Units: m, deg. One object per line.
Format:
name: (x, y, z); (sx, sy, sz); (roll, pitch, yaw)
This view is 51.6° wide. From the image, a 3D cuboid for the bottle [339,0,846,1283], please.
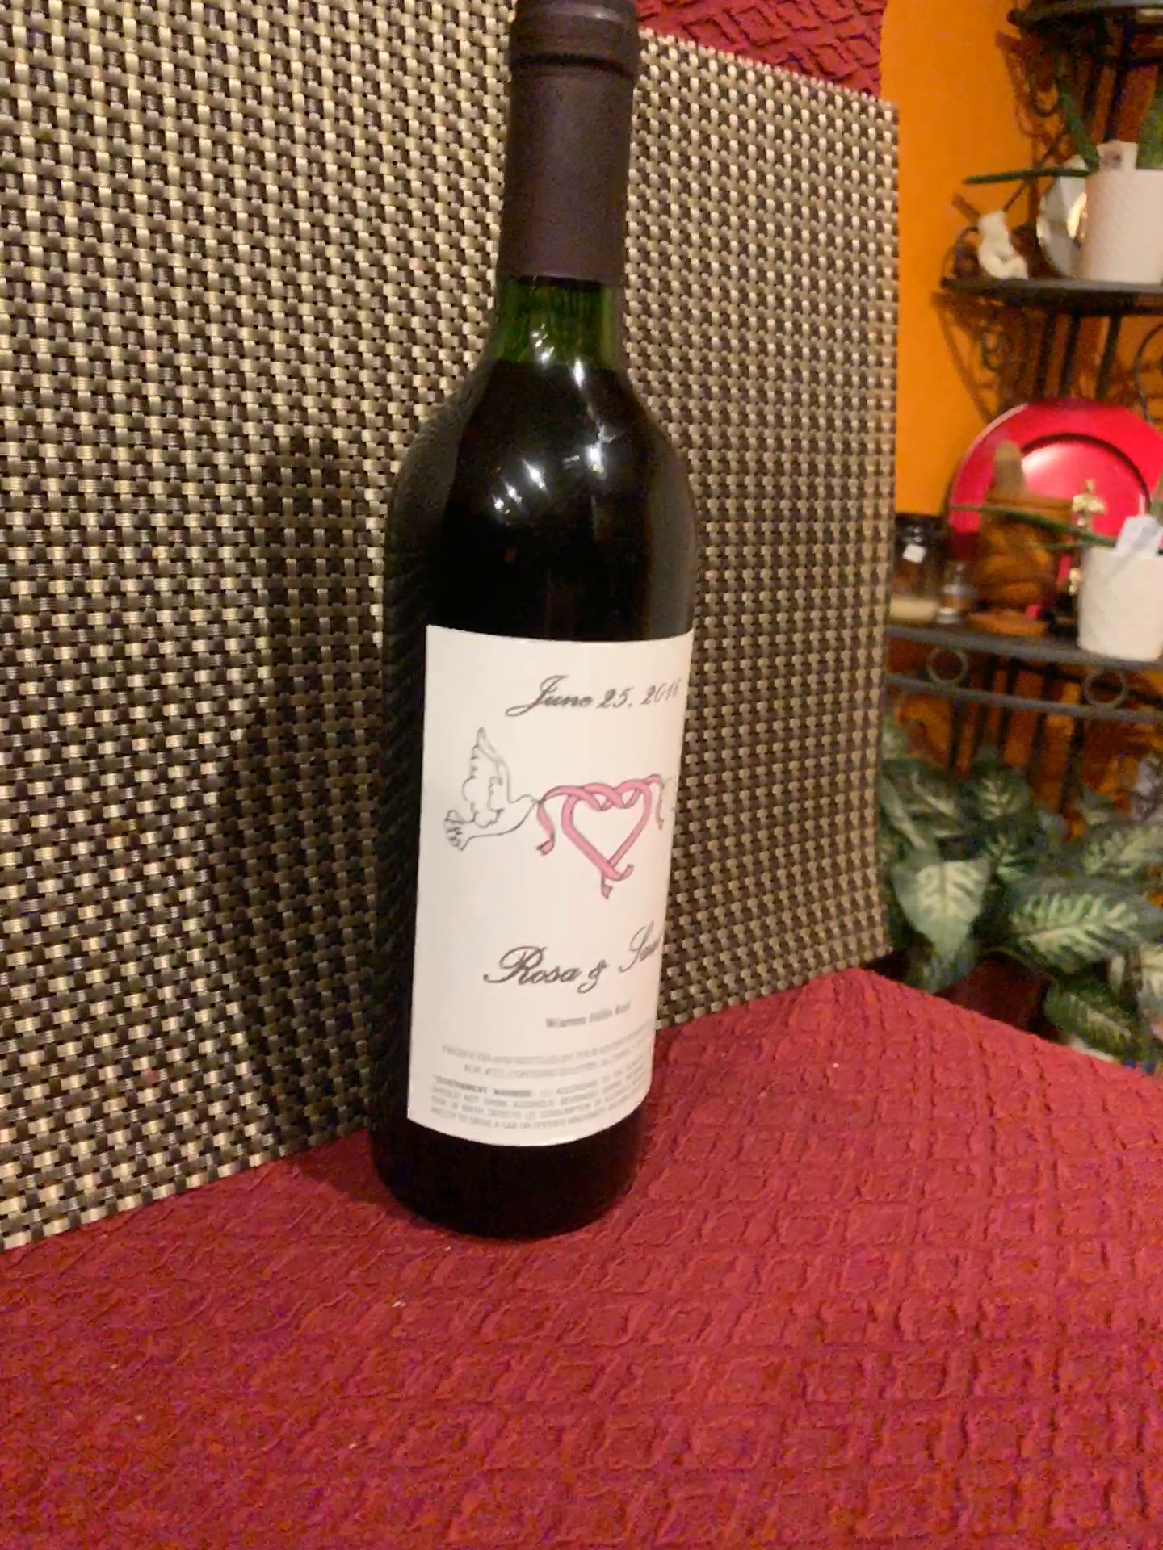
bottle: (-0.006, -0.030, 0.292); (0.080, 0.289, 0.060); (-6, 19, -34)
